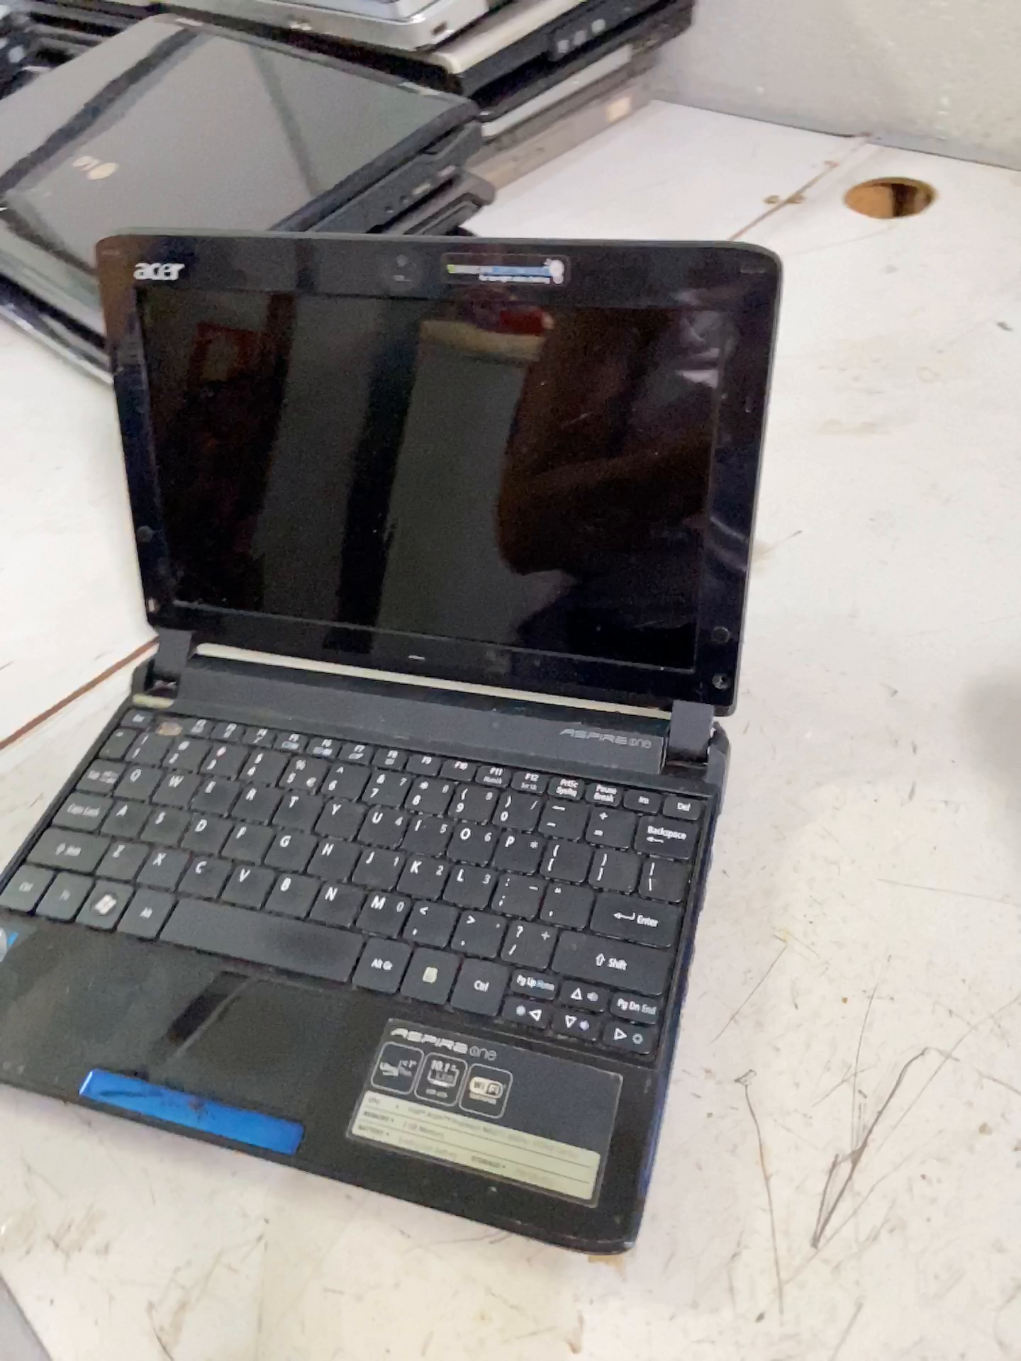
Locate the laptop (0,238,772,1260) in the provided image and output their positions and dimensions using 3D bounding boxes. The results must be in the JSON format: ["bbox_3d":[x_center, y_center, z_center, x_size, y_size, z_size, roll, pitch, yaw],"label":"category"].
[{"bbox_3d":[-0.064,-0.007,0.342,0.253,0.144,0.260,7,52,17],"label":"laptop"}]
